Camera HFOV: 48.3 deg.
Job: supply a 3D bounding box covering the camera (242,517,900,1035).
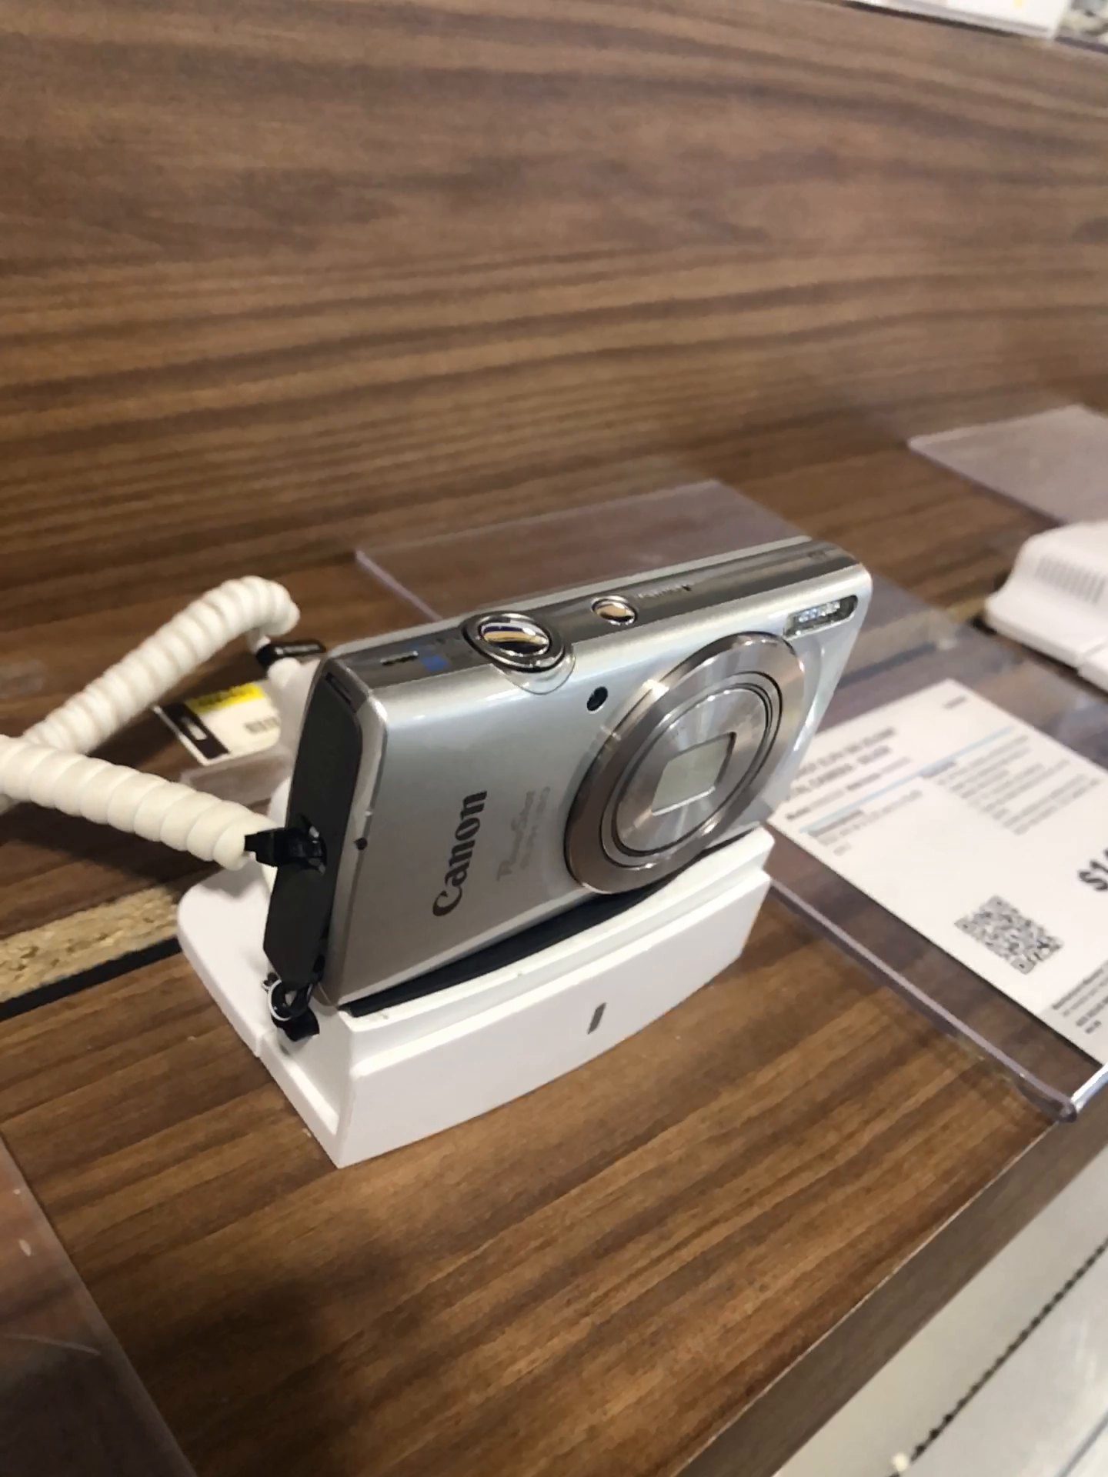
[{"bbox_3d":[0.005,0.001,0.184,0.100,0.050,0.020,-18,46,-37],"label":"camera"}]
